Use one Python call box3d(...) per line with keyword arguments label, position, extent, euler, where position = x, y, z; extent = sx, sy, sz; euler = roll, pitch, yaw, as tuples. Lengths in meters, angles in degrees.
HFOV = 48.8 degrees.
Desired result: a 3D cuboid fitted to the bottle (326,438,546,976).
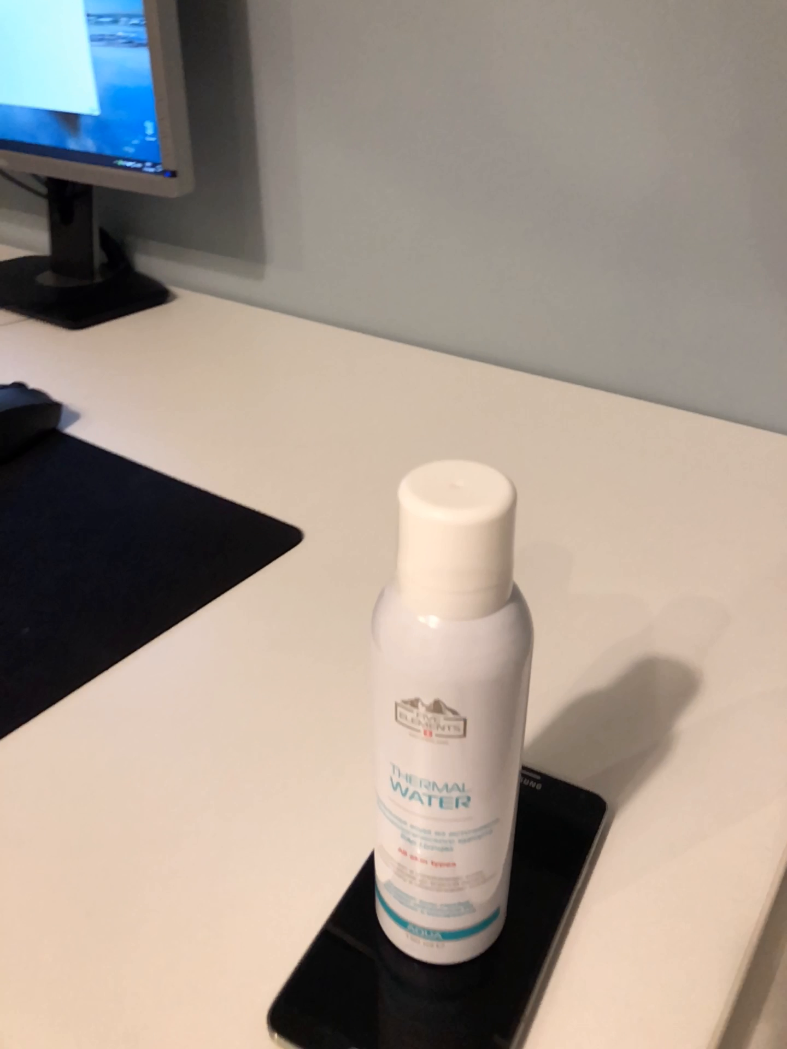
box3d(label="bottle", position=(0.015, 0.066, 0.288), extent=(0.053, 0.175, 0.059), euler=(5, 32, 9))
